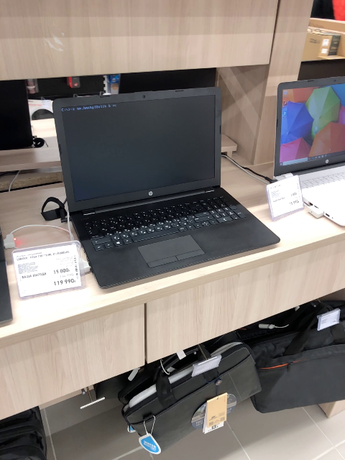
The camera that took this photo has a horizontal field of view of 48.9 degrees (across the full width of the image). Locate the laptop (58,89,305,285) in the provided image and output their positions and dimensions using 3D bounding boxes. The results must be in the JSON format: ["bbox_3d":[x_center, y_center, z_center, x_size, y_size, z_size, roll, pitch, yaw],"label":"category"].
[{"bbox_3d":[-0.004,-0.115,0.755,0.358,0.222,0.298,-12,36,-21],"label":"laptop"}]
